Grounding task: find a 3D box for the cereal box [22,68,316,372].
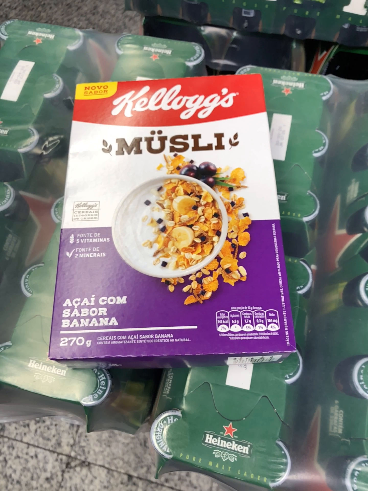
[{"bbox_3d":[-0.010,-0.022,0.264,0.150,0.040,0.190,-3,67,2],"label":"cereal box"}]
